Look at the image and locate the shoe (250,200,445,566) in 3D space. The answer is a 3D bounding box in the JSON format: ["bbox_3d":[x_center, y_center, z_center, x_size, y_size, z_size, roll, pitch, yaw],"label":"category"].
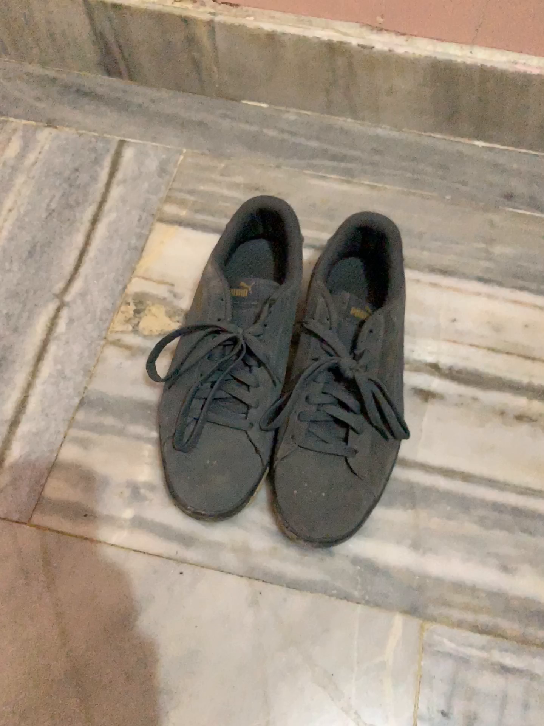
[{"bbox_3d":[0.069,0.010,0.491,0.110,0.100,0.289,12,63,4],"label":"shoe"}]

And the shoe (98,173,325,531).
[{"bbox_3d":[-0.039,-0.017,0.498,0.110,0.100,0.289,12,63,4],"label":"shoe"}]
